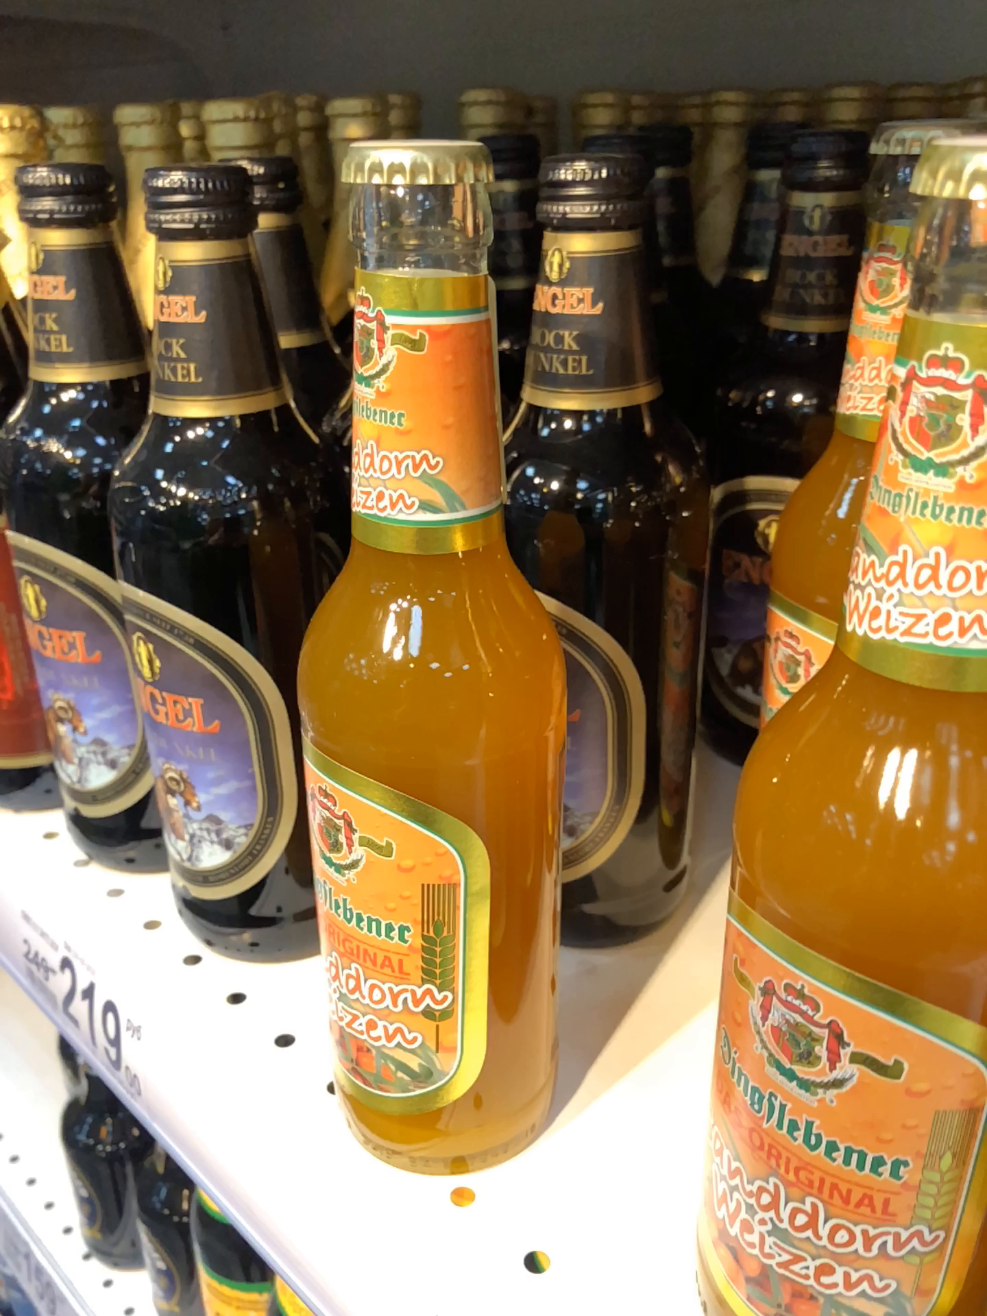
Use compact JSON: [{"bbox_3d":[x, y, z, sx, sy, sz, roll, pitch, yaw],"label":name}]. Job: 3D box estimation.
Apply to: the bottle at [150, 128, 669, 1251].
[{"bbox_3d":[-0.014,0.011,0.239,0.060,0.225,0.070,-21,32,-35],"label":"bottle"}]
